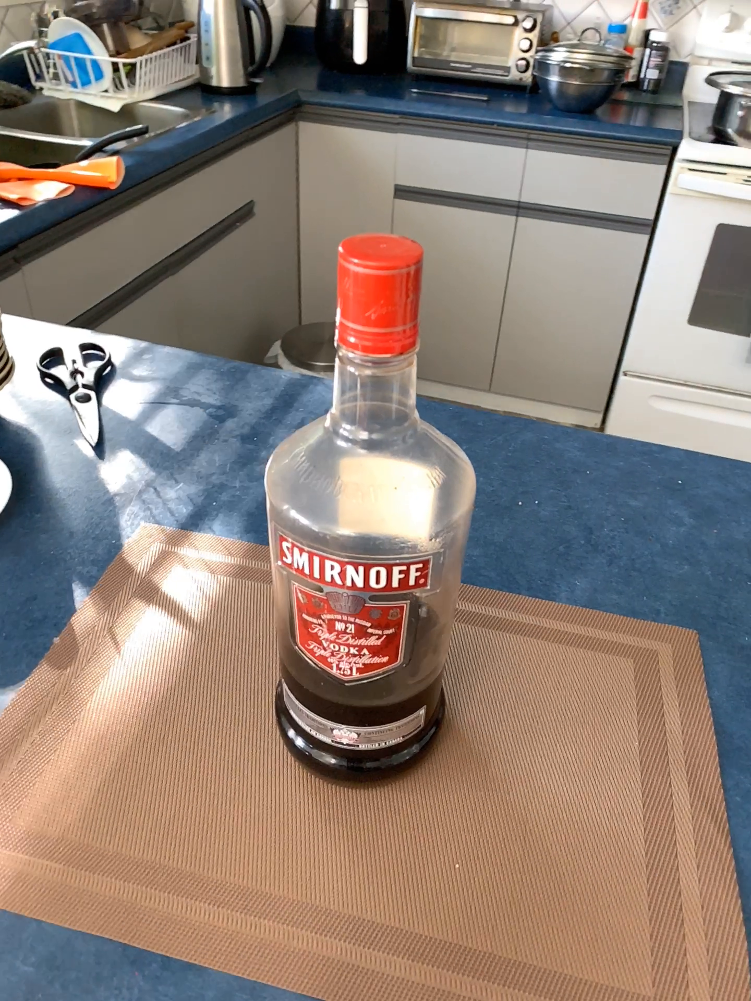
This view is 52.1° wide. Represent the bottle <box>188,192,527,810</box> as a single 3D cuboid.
[{"bbox_3d":[-0.007,0.018,0.420,0.120,0.317,0.111,2,37,-1],"label":"bottle"}]
